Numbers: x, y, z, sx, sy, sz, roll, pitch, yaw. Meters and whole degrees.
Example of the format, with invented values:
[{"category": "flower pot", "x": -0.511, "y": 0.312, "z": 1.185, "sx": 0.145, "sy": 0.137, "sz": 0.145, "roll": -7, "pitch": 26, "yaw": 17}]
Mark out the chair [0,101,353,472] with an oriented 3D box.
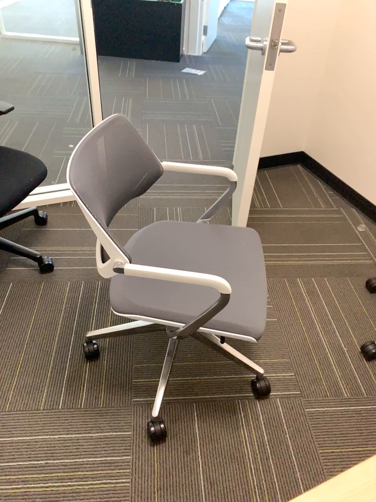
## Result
[{"category": "chair", "x": -0.031, "y": 0.072, "z": 1.262, "sx": 0.730, "sy": 0.766, "sz": 0.804, "roll": 8, "pitch": 40, "yaw": 5}]
